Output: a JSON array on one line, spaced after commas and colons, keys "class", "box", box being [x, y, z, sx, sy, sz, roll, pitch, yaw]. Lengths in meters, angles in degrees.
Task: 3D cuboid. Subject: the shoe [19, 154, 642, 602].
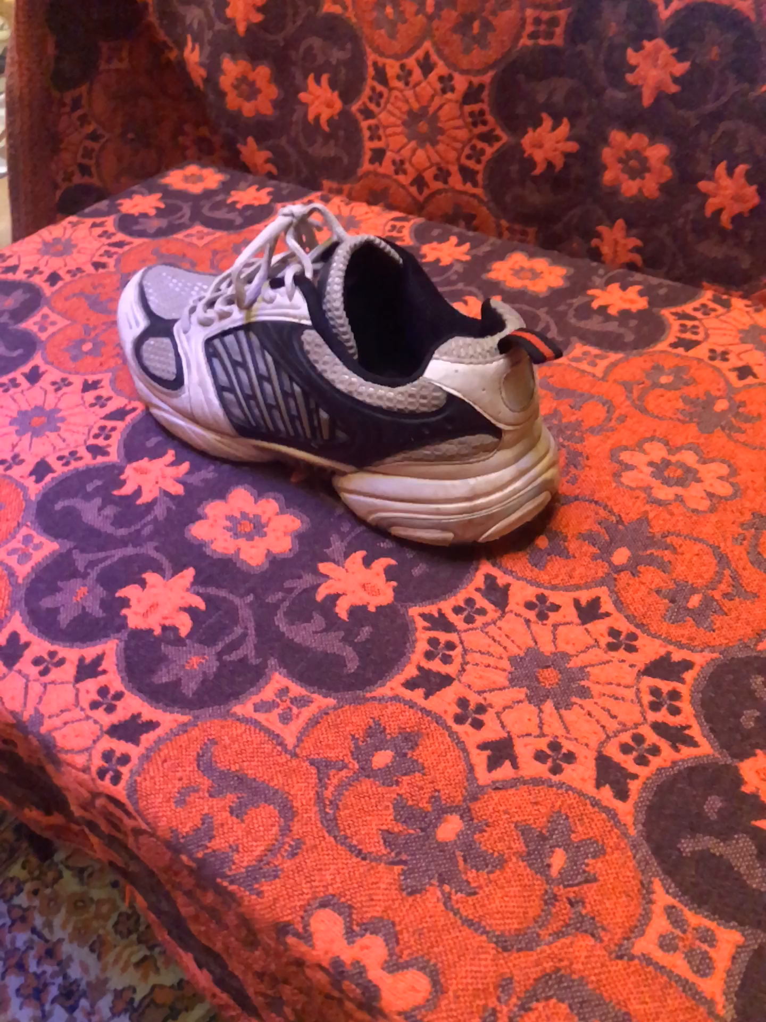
[{"class": "shoe", "box": [-0.037, -0.089, 0.457, 0.301, 0.109, 0.120, 25, 49, 27]}]
